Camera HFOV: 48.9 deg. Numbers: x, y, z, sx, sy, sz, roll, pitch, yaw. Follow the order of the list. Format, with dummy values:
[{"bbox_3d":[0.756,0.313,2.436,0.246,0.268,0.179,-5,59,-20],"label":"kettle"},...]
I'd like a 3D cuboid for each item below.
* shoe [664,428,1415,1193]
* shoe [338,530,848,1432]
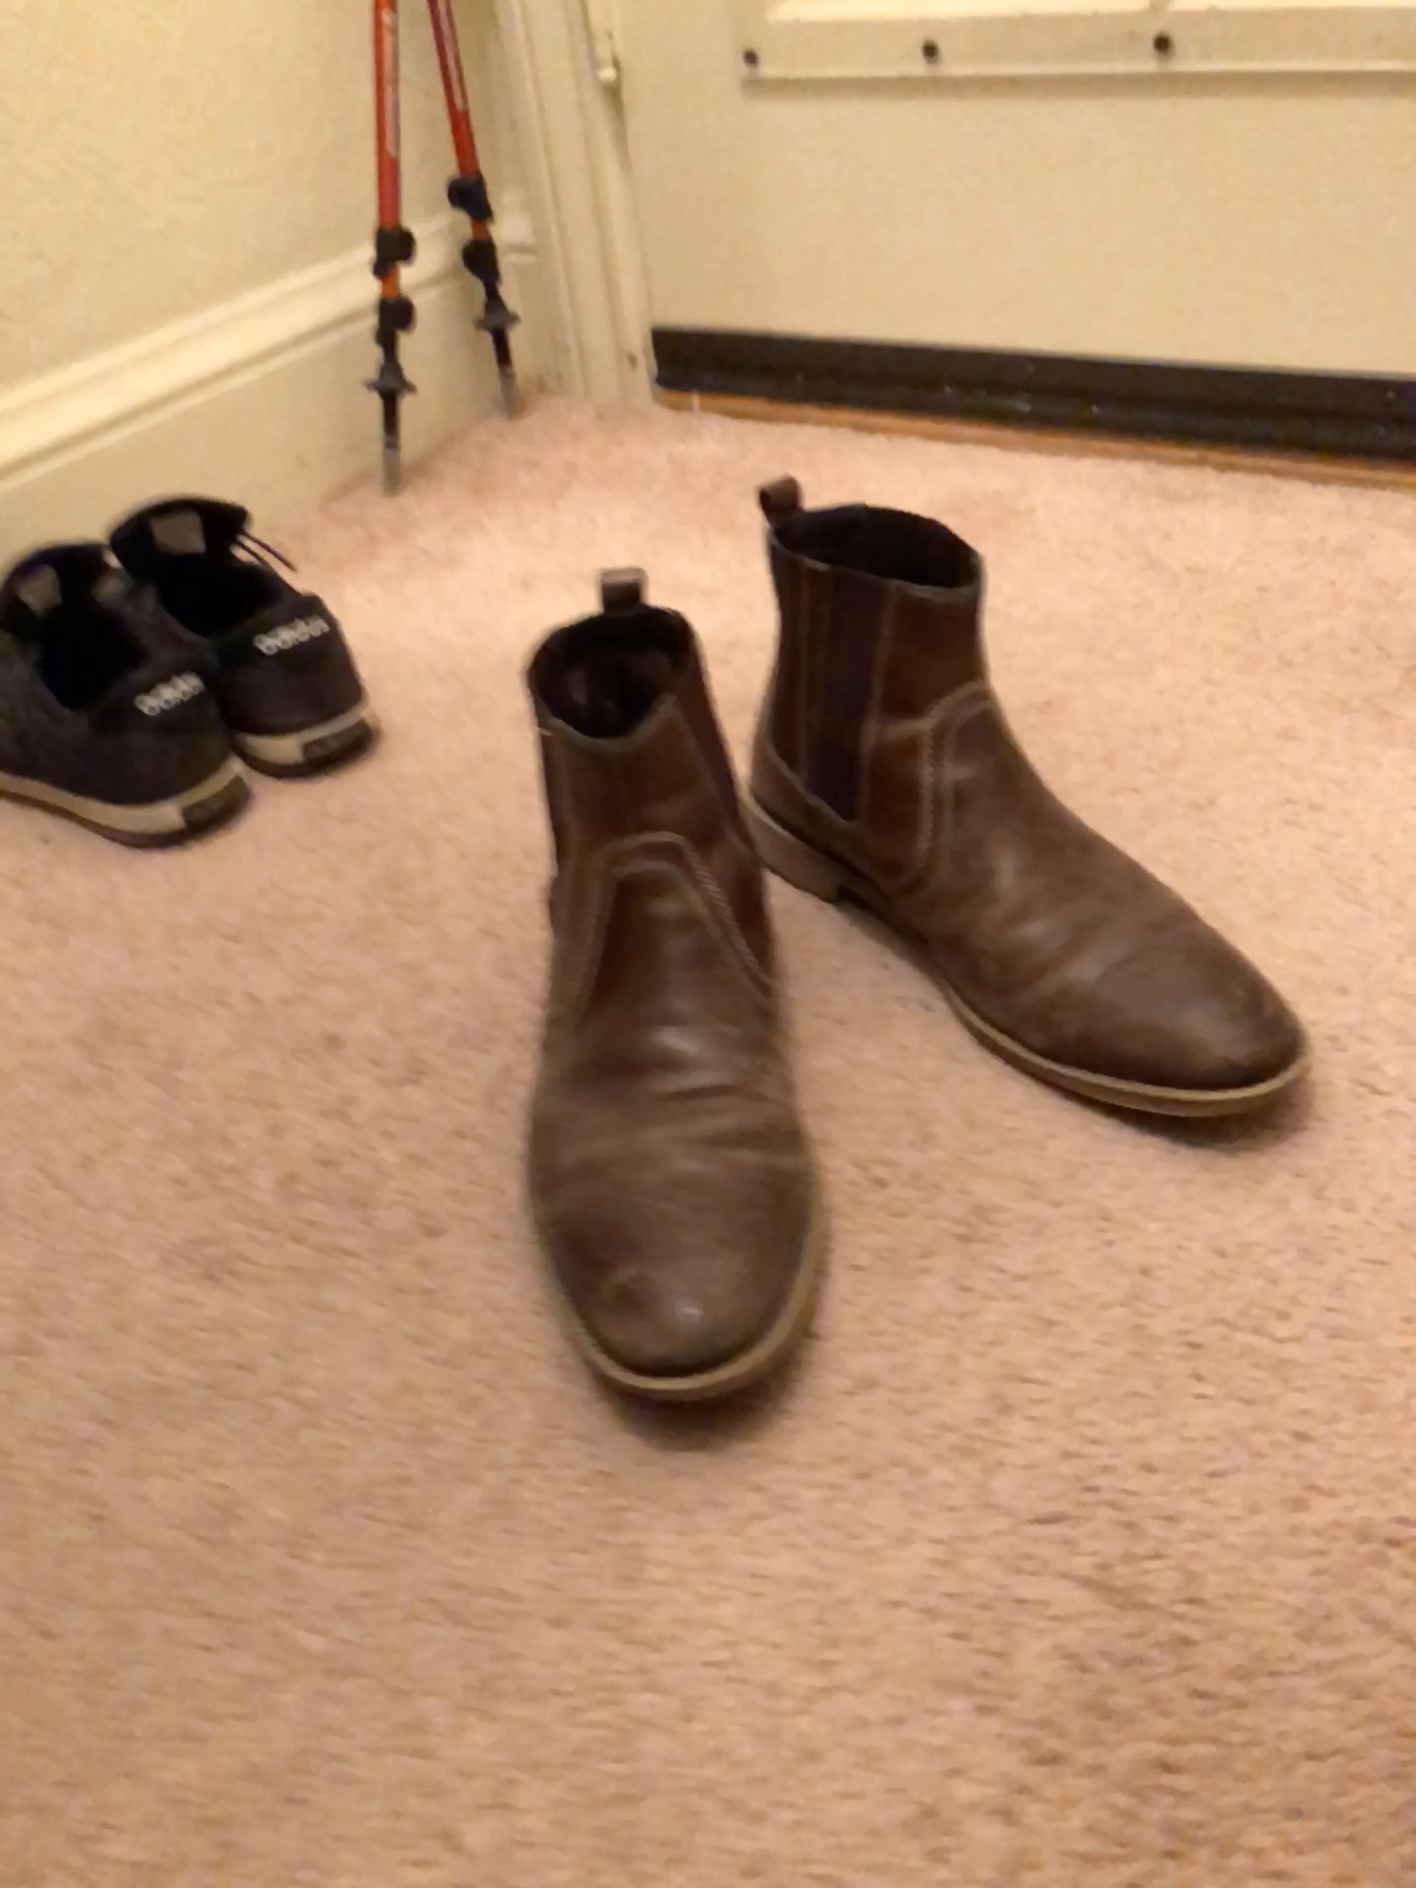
[{"bbox_3d":[0.116,-0.072,0.614,0.119,0.158,0.299,-24,40,-19],"label":"shoe"},{"bbox_3d":[-0.025,-0.006,0.556,0.118,0.158,0.299,-5,38,4],"label":"shoe"}]
